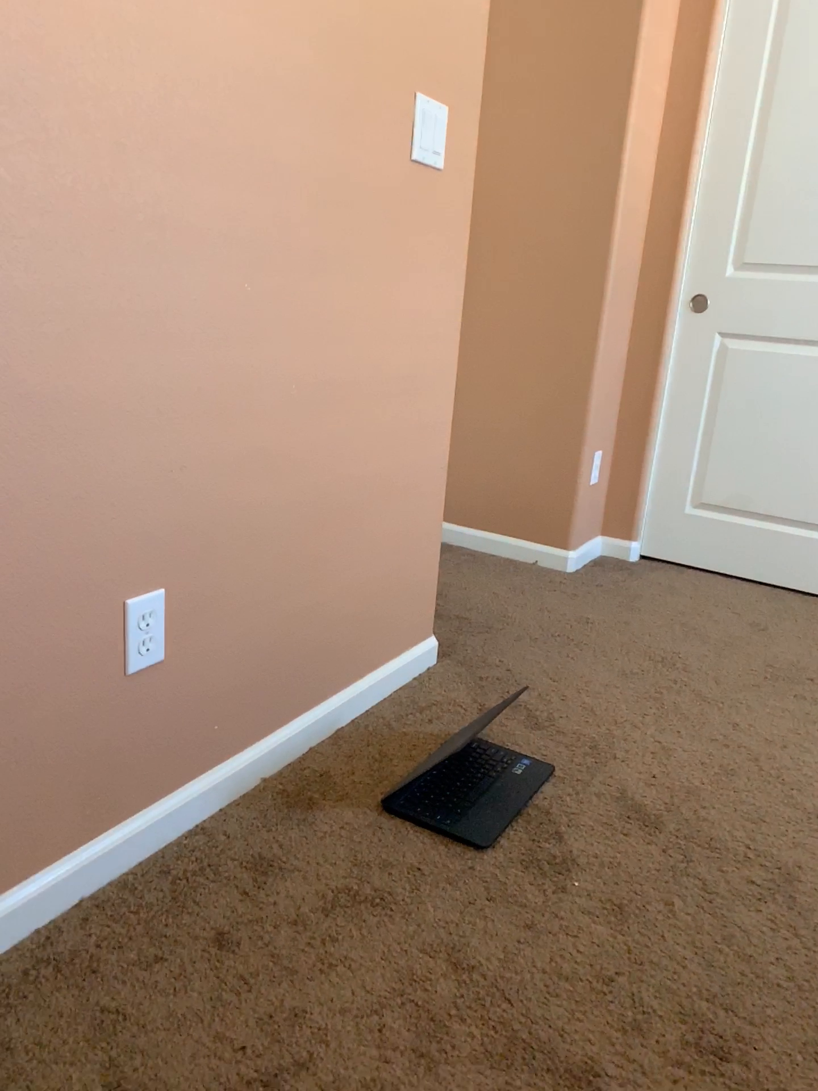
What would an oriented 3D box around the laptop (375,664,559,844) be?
[{"bbox_3d":[0.107,0.345,1.442,0.192,0.140,0.293,15,19,28],"label":"laptop"}]
